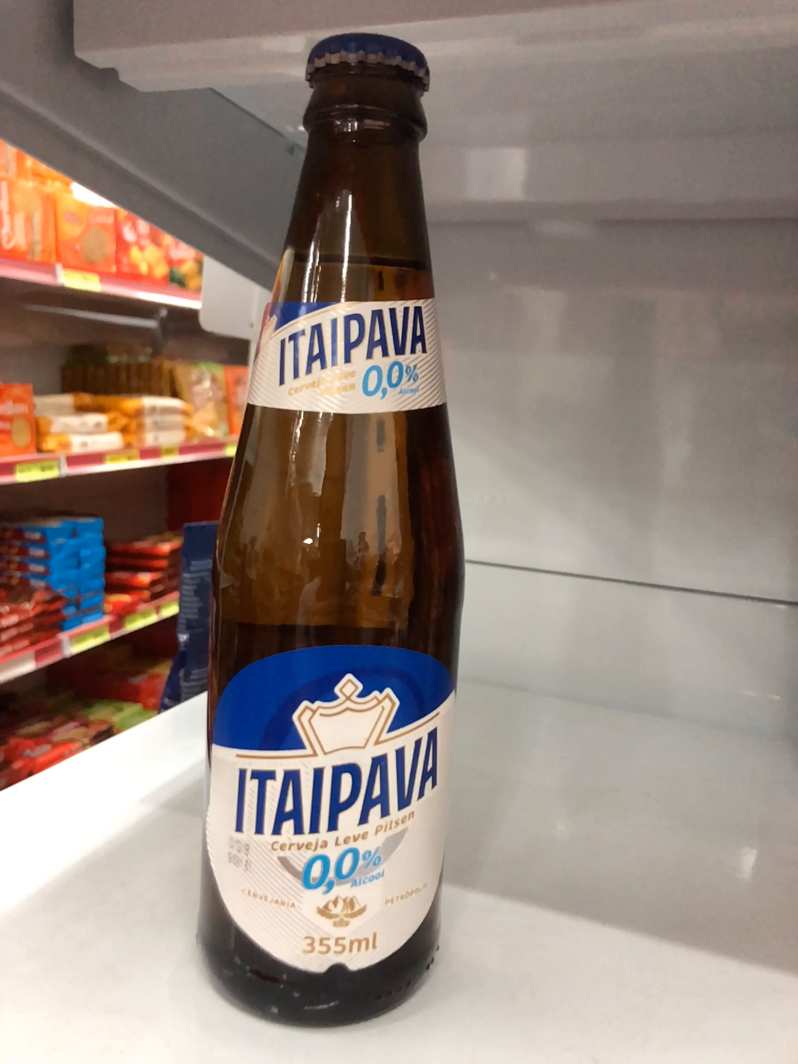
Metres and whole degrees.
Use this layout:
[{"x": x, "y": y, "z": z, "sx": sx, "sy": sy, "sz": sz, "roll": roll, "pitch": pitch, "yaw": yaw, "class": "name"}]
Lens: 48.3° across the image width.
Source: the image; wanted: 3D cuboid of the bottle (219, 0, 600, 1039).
[{"x": -0.004, "y": -0.008, "z": 0.193, "sx": 0.060, "sy": 0.209, "sz": 0.060, "roll": 3, "pitch": 9, "yaw": 0, "class": "bottle"}]
